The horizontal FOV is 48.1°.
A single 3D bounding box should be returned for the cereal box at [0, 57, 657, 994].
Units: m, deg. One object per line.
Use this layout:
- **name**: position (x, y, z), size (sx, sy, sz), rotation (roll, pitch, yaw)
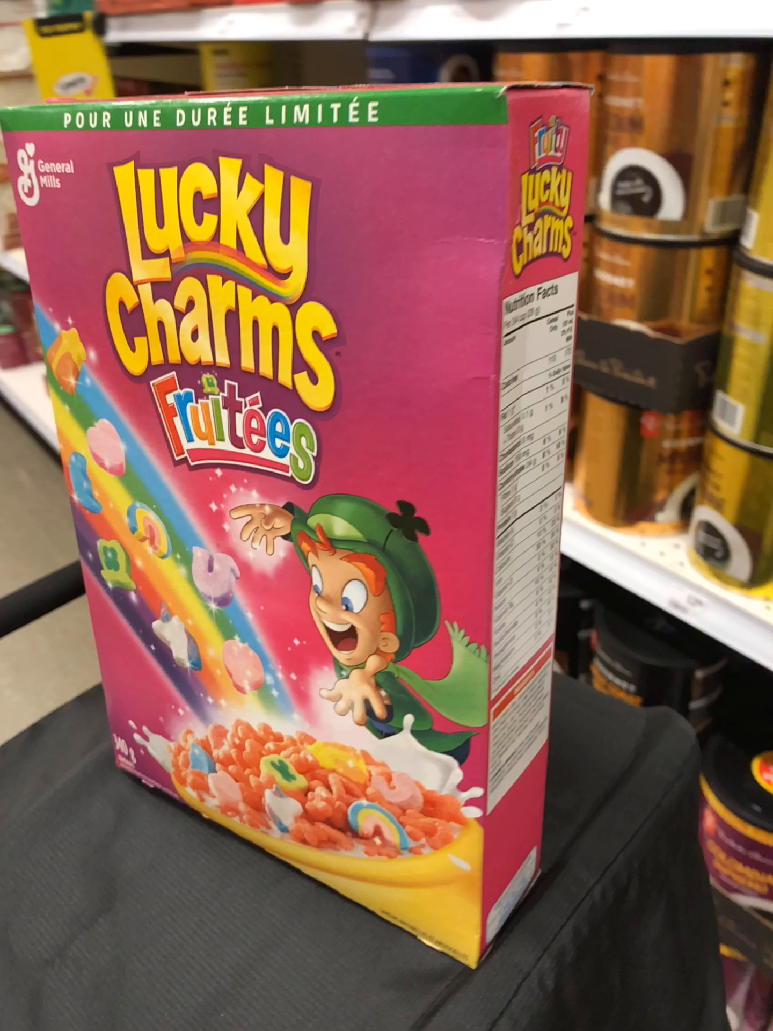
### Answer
- **cereal box**: position (-0.028, 0.003, 0.320), size (0.200, 0.299, 0.060), rotation (16, 30, 30)
